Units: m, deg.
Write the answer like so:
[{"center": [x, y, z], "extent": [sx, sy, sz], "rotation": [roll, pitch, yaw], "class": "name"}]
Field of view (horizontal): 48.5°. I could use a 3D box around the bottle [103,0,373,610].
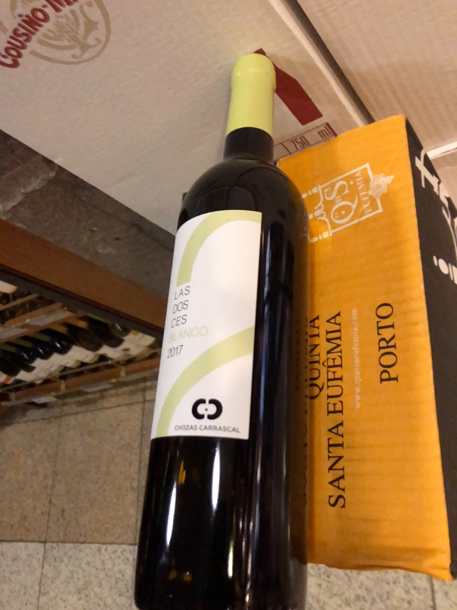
[{"center": [0.010, -0.019, 0.267], "extent": [0.090, 0.070, 0.321], "rotation": [-12, 66, 34], "class": "bottle"}]
